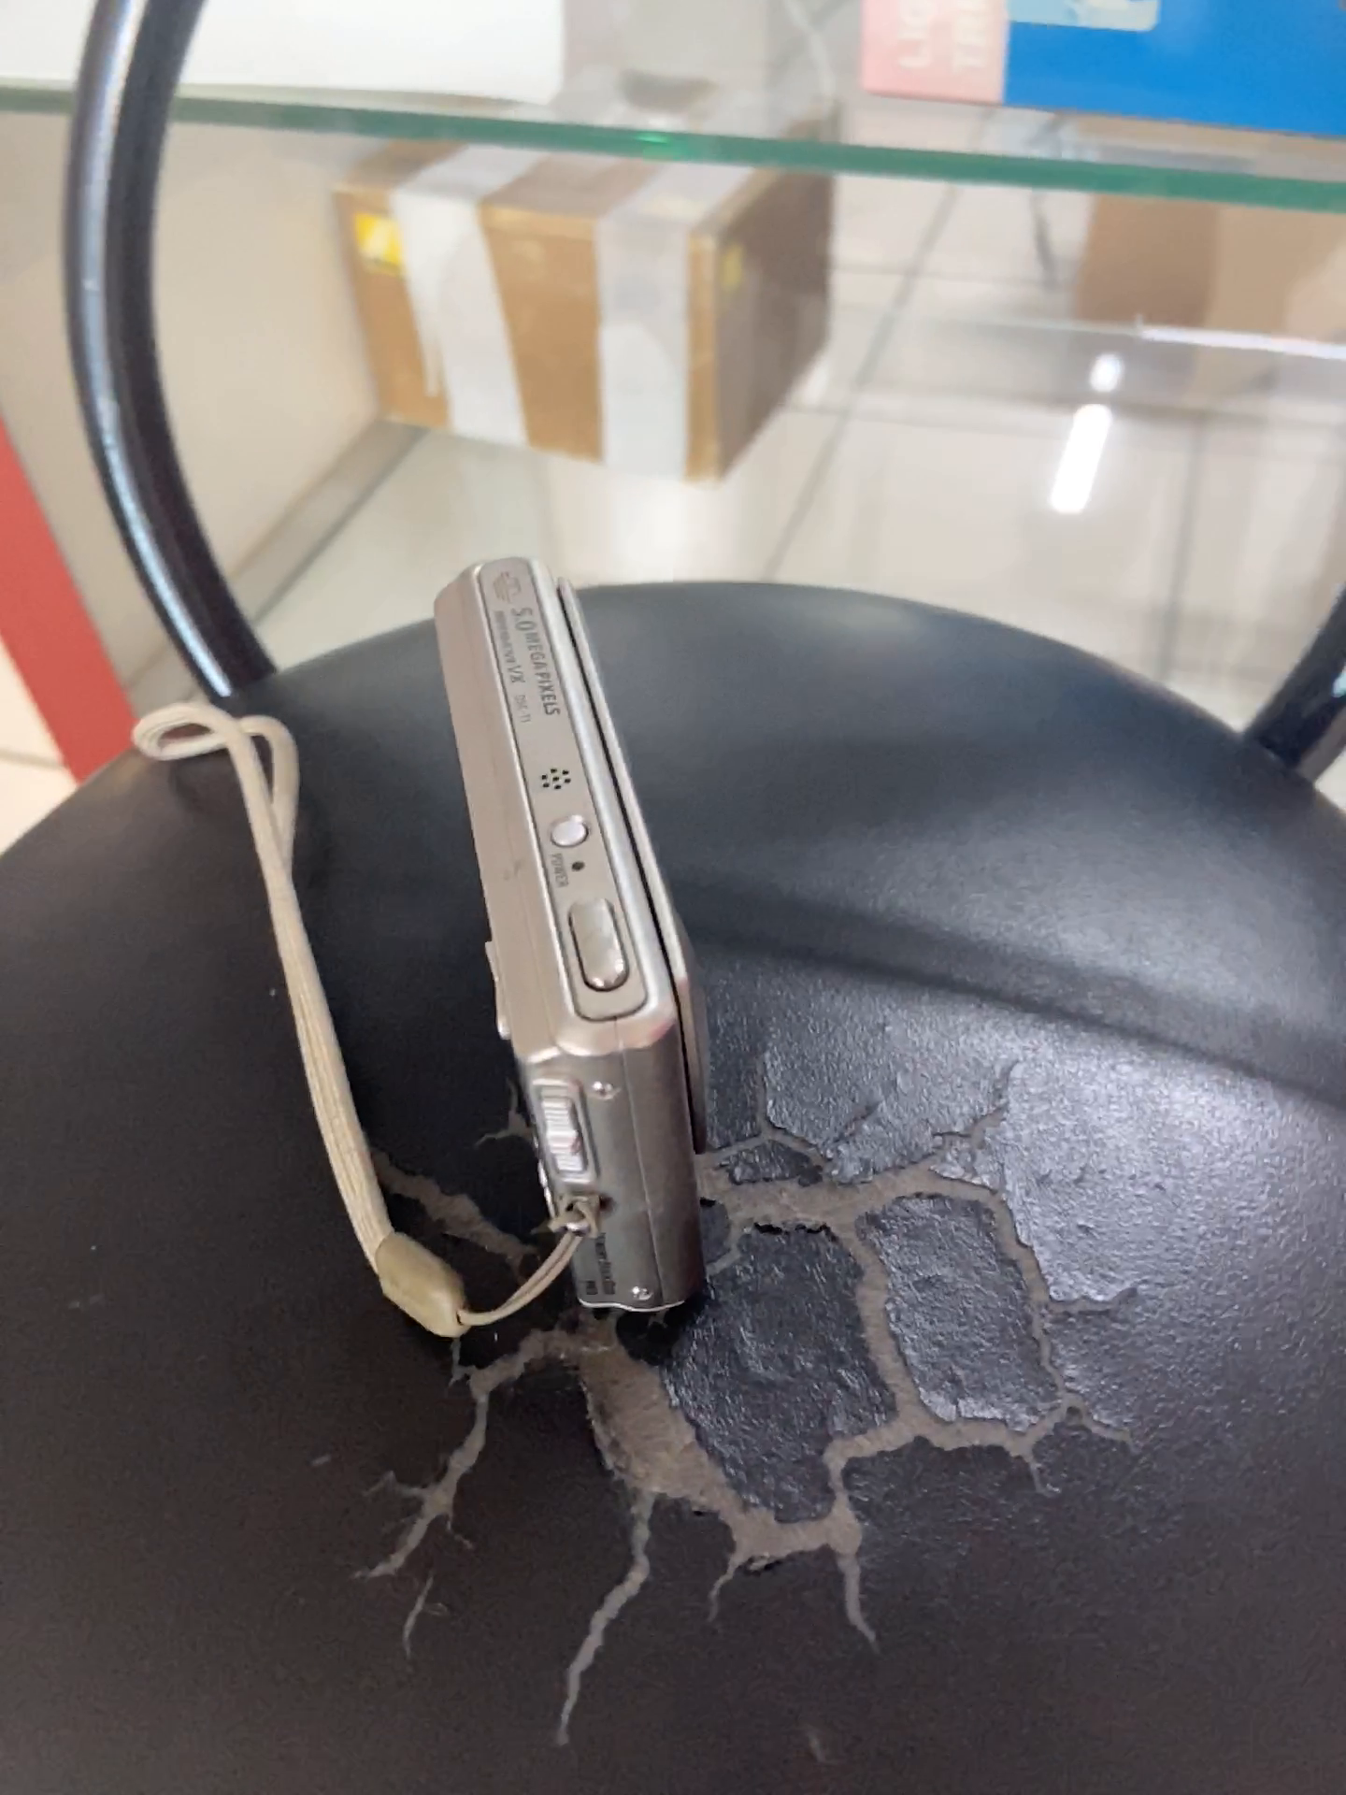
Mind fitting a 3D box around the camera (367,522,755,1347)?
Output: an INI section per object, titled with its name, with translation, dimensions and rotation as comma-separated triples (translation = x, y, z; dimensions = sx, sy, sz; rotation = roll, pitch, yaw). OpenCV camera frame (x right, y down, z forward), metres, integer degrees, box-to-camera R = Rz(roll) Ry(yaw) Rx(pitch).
[camera]
translation = -0.017, 0.001, 0.202
dimensions = 0.030, 0.060, 0.101
rotation = -13, 47, -7
